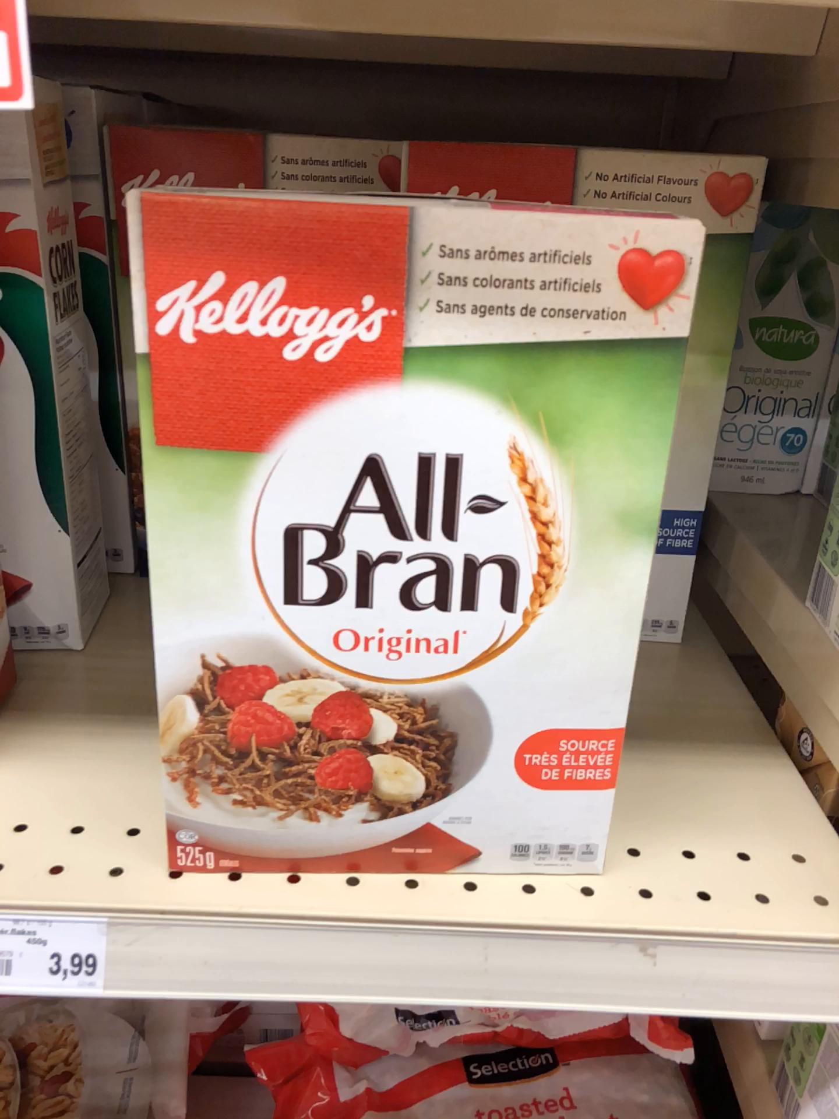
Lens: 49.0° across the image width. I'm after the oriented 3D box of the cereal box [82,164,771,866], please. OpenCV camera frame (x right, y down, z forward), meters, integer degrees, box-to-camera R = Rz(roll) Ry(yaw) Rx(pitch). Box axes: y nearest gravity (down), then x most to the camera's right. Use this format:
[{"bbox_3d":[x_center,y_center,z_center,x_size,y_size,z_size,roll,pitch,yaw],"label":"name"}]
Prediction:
[{"bbox_3d":[-0.003,-0.004,0.324,0.190,0.238,0.050,2,24,-3],"label":"cereal box"}]
